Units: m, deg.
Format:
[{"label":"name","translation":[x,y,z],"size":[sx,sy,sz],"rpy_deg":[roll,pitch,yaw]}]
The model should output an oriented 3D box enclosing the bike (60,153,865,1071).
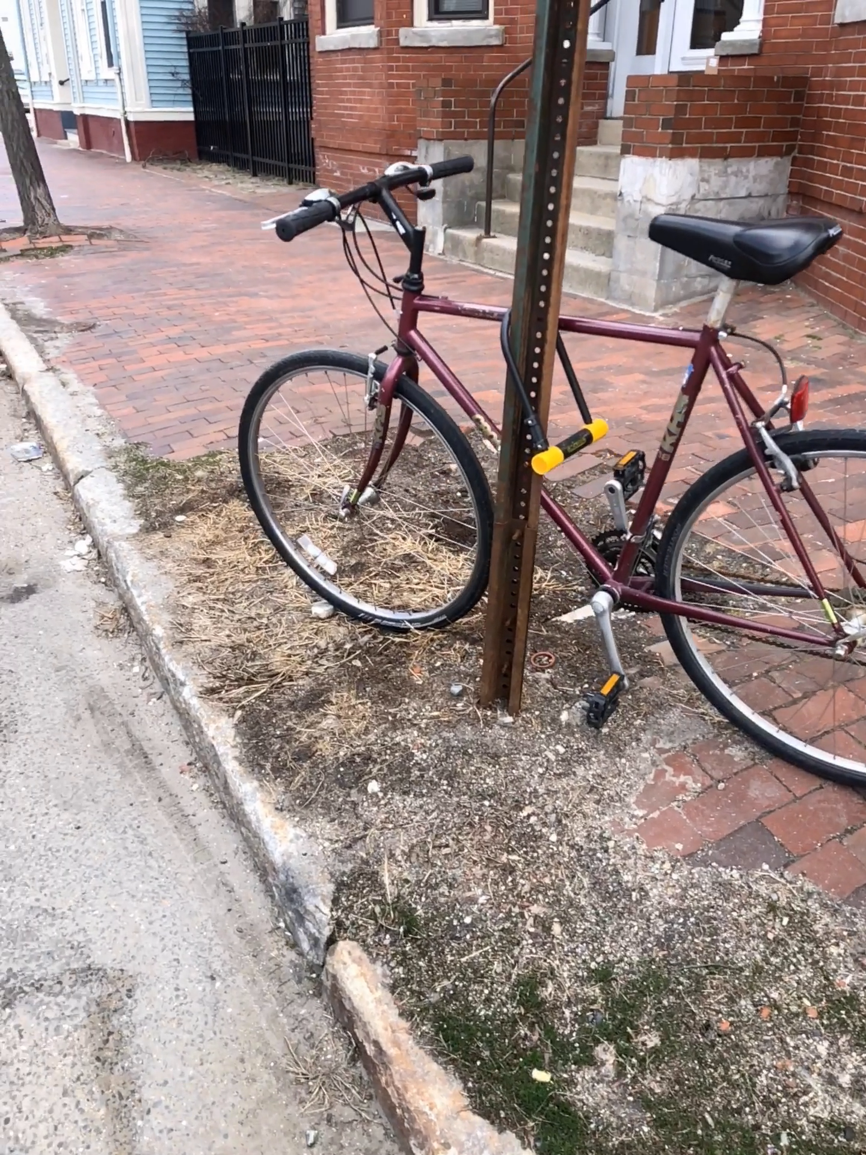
[{"label":"bike","translation":[0.235,-0.164,1.688],"size":[1.729,1.011,0.670],"rpy_deg":[18,31,31]}]
